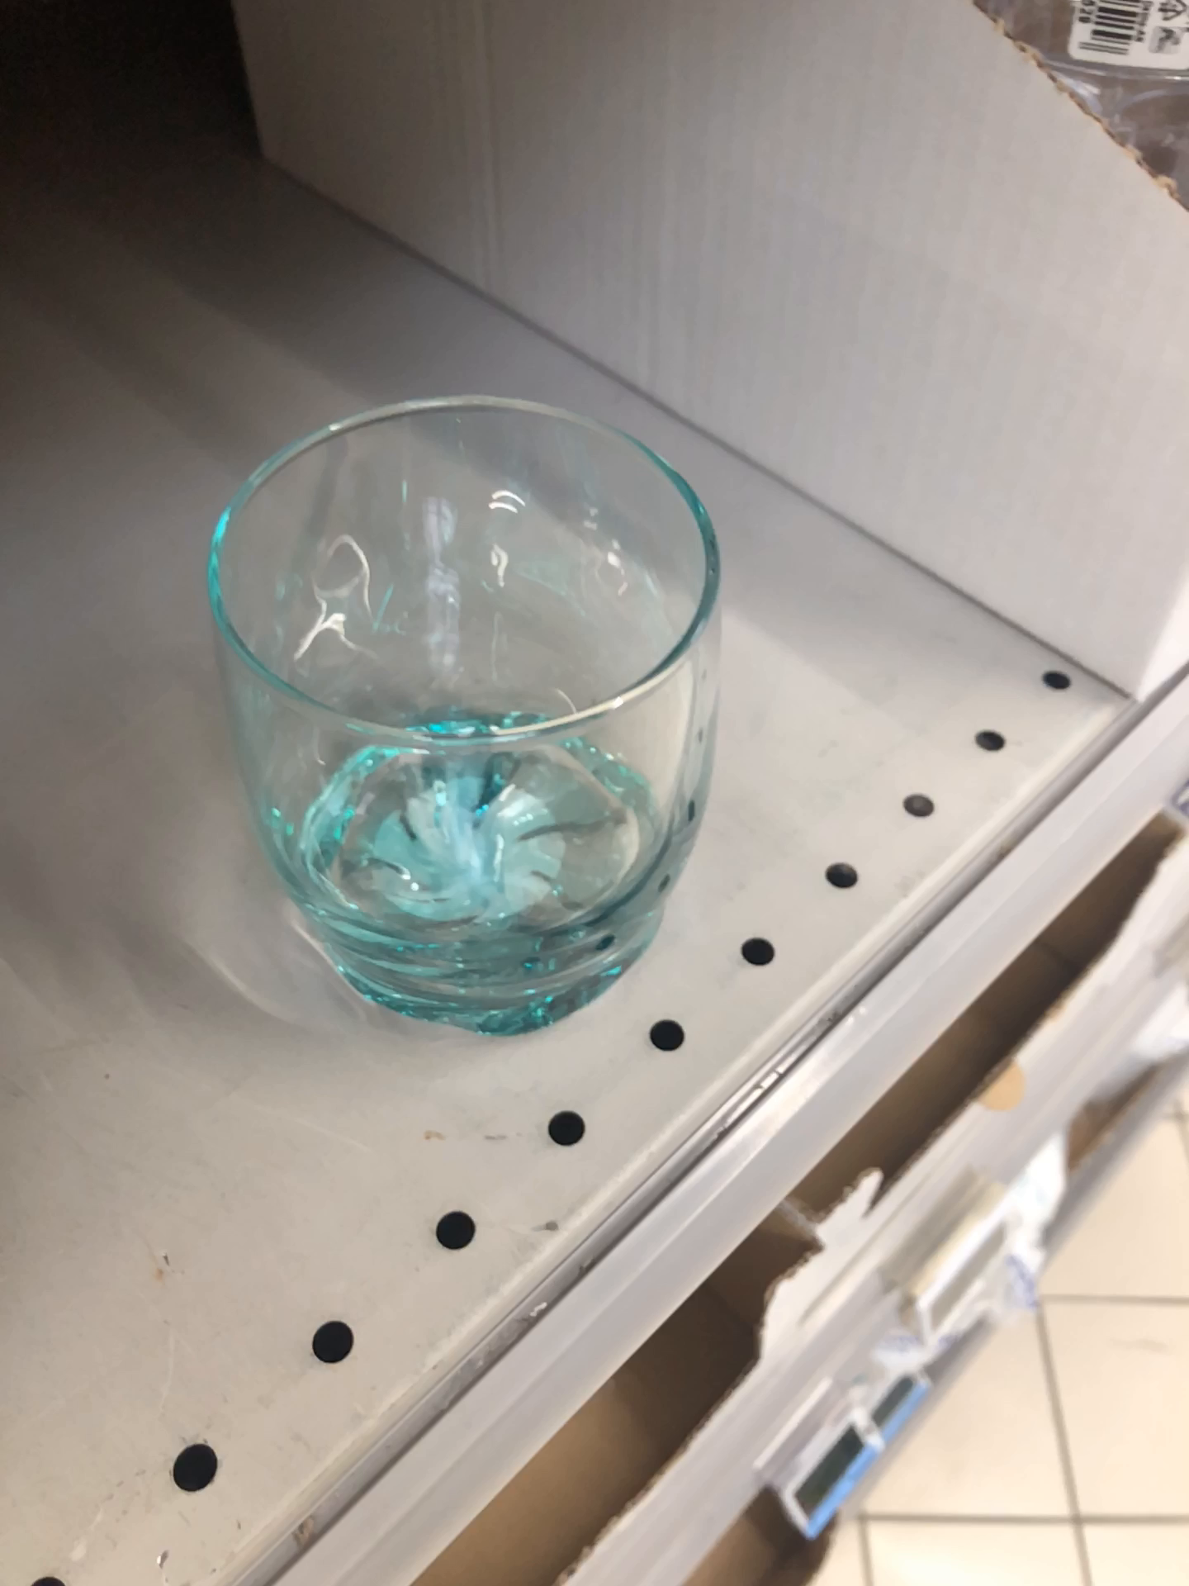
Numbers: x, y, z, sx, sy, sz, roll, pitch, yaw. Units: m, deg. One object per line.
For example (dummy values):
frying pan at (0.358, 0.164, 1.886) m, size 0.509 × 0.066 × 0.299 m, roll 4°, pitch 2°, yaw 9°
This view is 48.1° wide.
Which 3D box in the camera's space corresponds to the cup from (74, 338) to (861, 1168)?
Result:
cup at (-0.019, -0.007, 0.219) m, size 0.083 × 0.082 × 0.074 m, roll -31°, pitch 59°, yaw -24°
